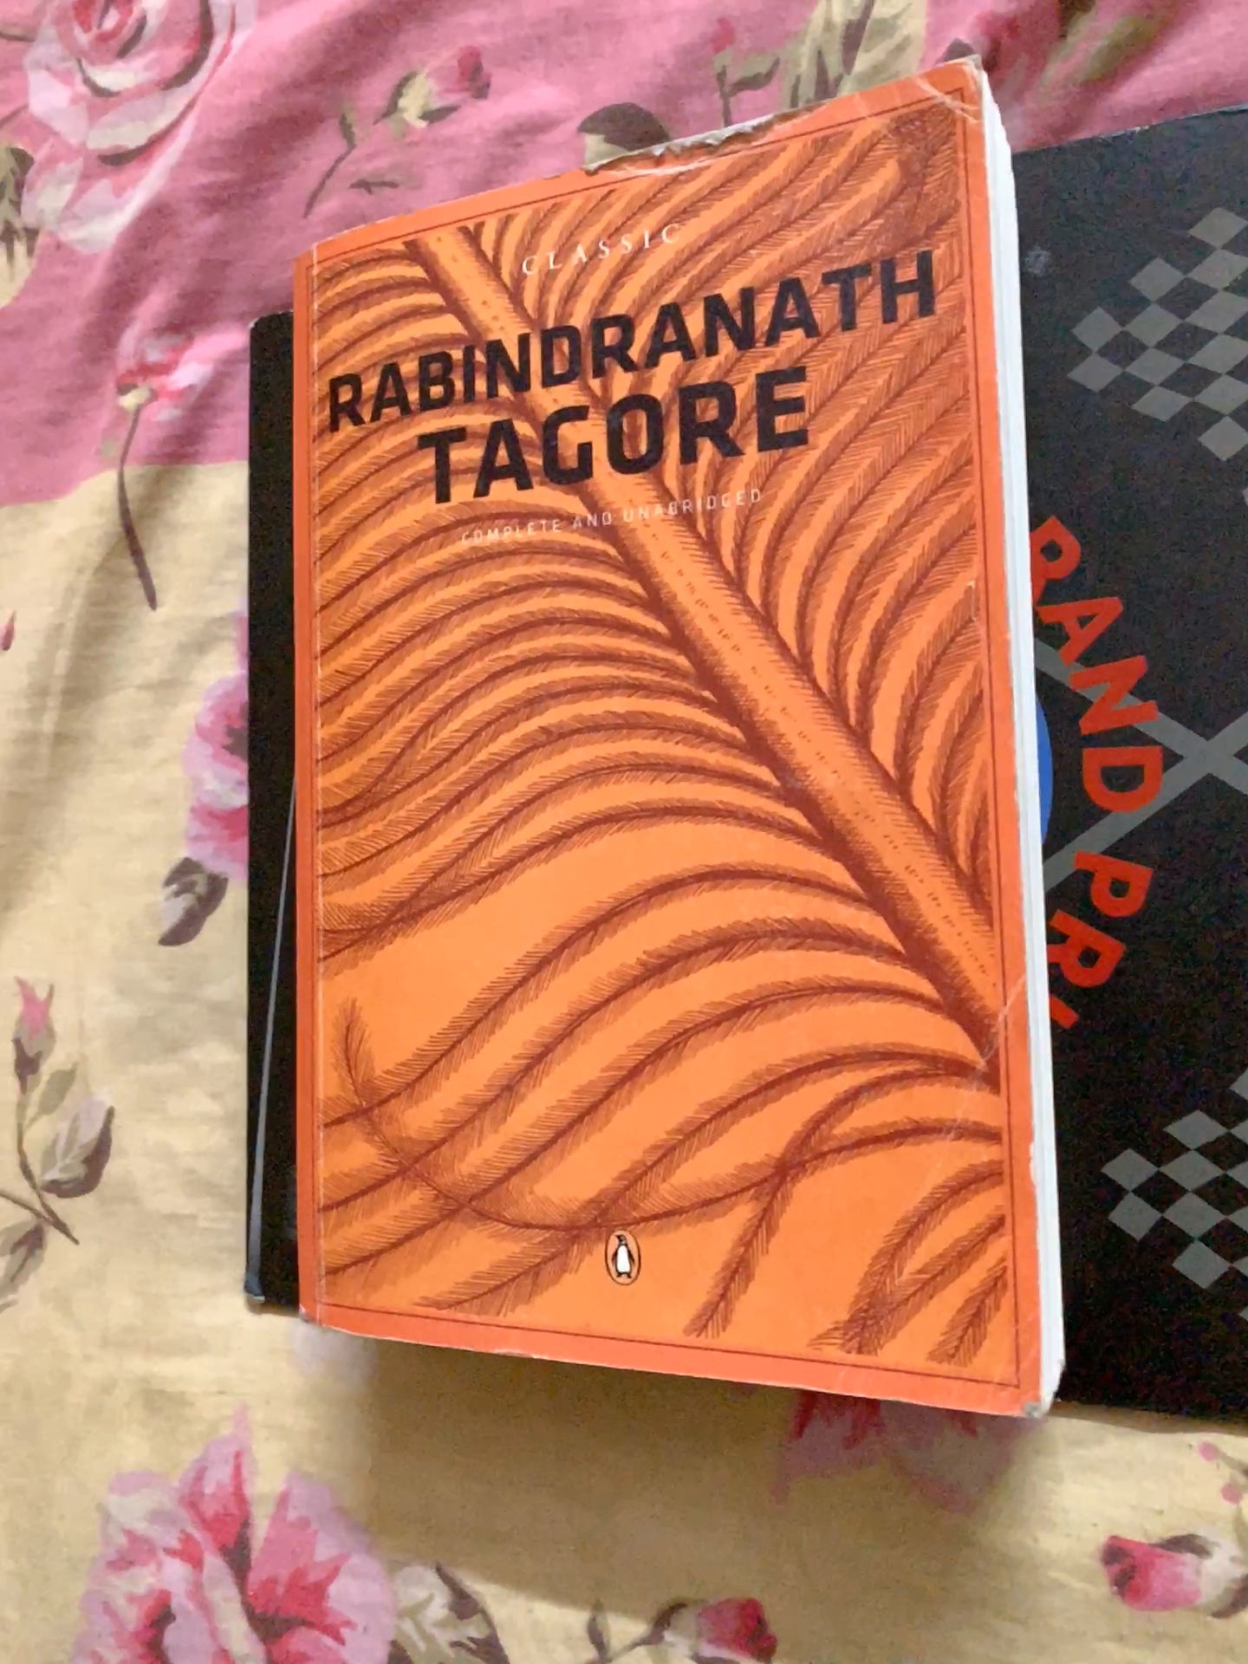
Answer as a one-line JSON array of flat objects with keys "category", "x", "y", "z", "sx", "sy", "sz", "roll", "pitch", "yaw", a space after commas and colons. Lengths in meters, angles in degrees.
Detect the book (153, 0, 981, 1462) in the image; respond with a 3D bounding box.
[{"category": "book", "x": -0.009, "y": -0.015, "z": 0.235, "sx": 0.130, "sy": 0.060, "sz": 0.210, "roll": -3, "pitch": 84, "yaw": 21}]
